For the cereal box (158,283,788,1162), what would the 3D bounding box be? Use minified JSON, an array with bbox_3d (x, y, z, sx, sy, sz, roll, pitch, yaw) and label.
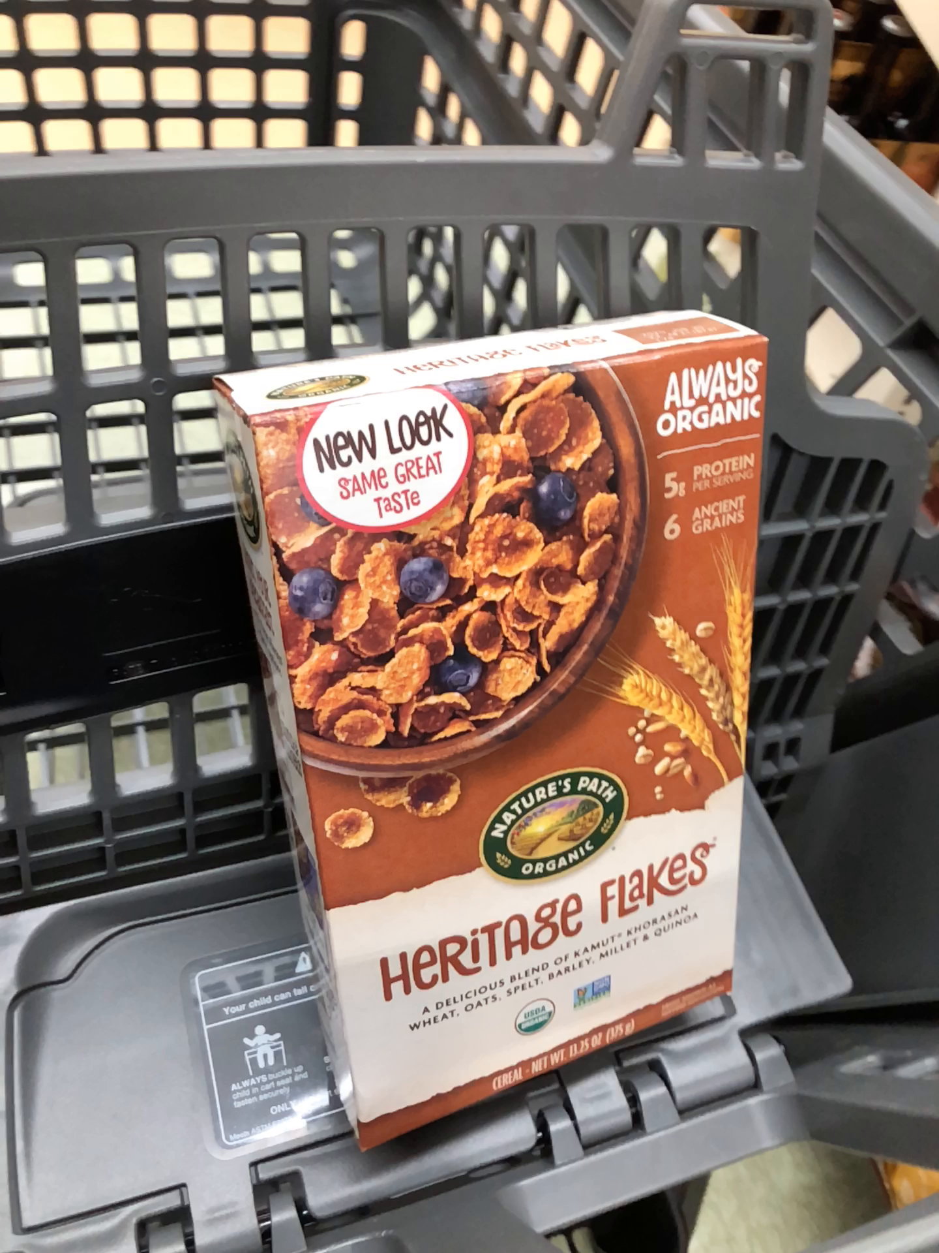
[{"bbox_3d":[0.014,0.029,0.345,0.170,0.250,0.060,-15,24,-20],"label":"cereal box"}]
